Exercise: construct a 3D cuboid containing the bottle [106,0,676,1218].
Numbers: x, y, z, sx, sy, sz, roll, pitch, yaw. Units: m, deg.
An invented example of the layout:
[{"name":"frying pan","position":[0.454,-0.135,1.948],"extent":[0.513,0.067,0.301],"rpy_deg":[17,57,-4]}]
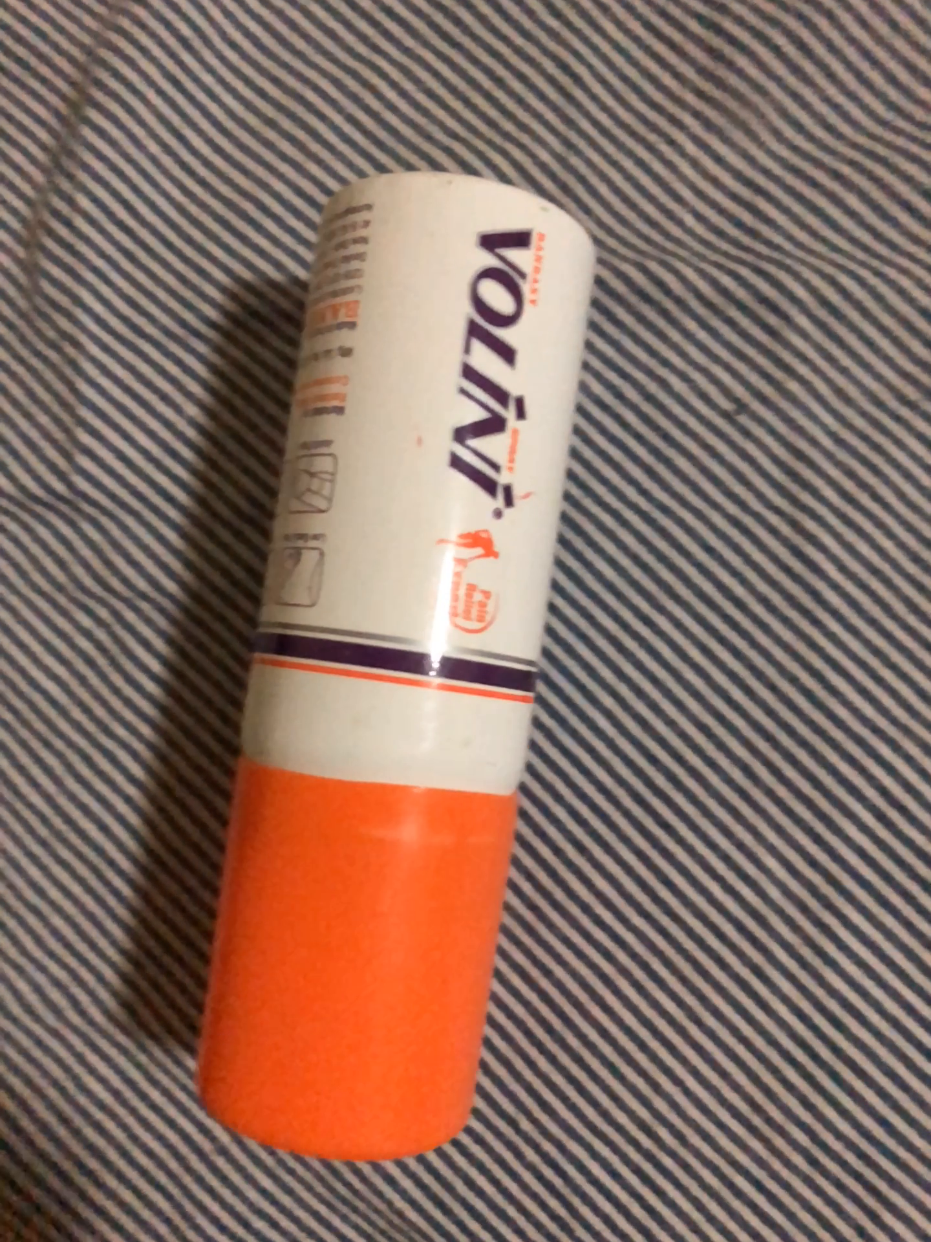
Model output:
[{"name":"bottle","position":[-0.011,-0.001,0.127],"extent":[0.040,0.040,0.120],"rpy_deg":[10,86,-25]}]
